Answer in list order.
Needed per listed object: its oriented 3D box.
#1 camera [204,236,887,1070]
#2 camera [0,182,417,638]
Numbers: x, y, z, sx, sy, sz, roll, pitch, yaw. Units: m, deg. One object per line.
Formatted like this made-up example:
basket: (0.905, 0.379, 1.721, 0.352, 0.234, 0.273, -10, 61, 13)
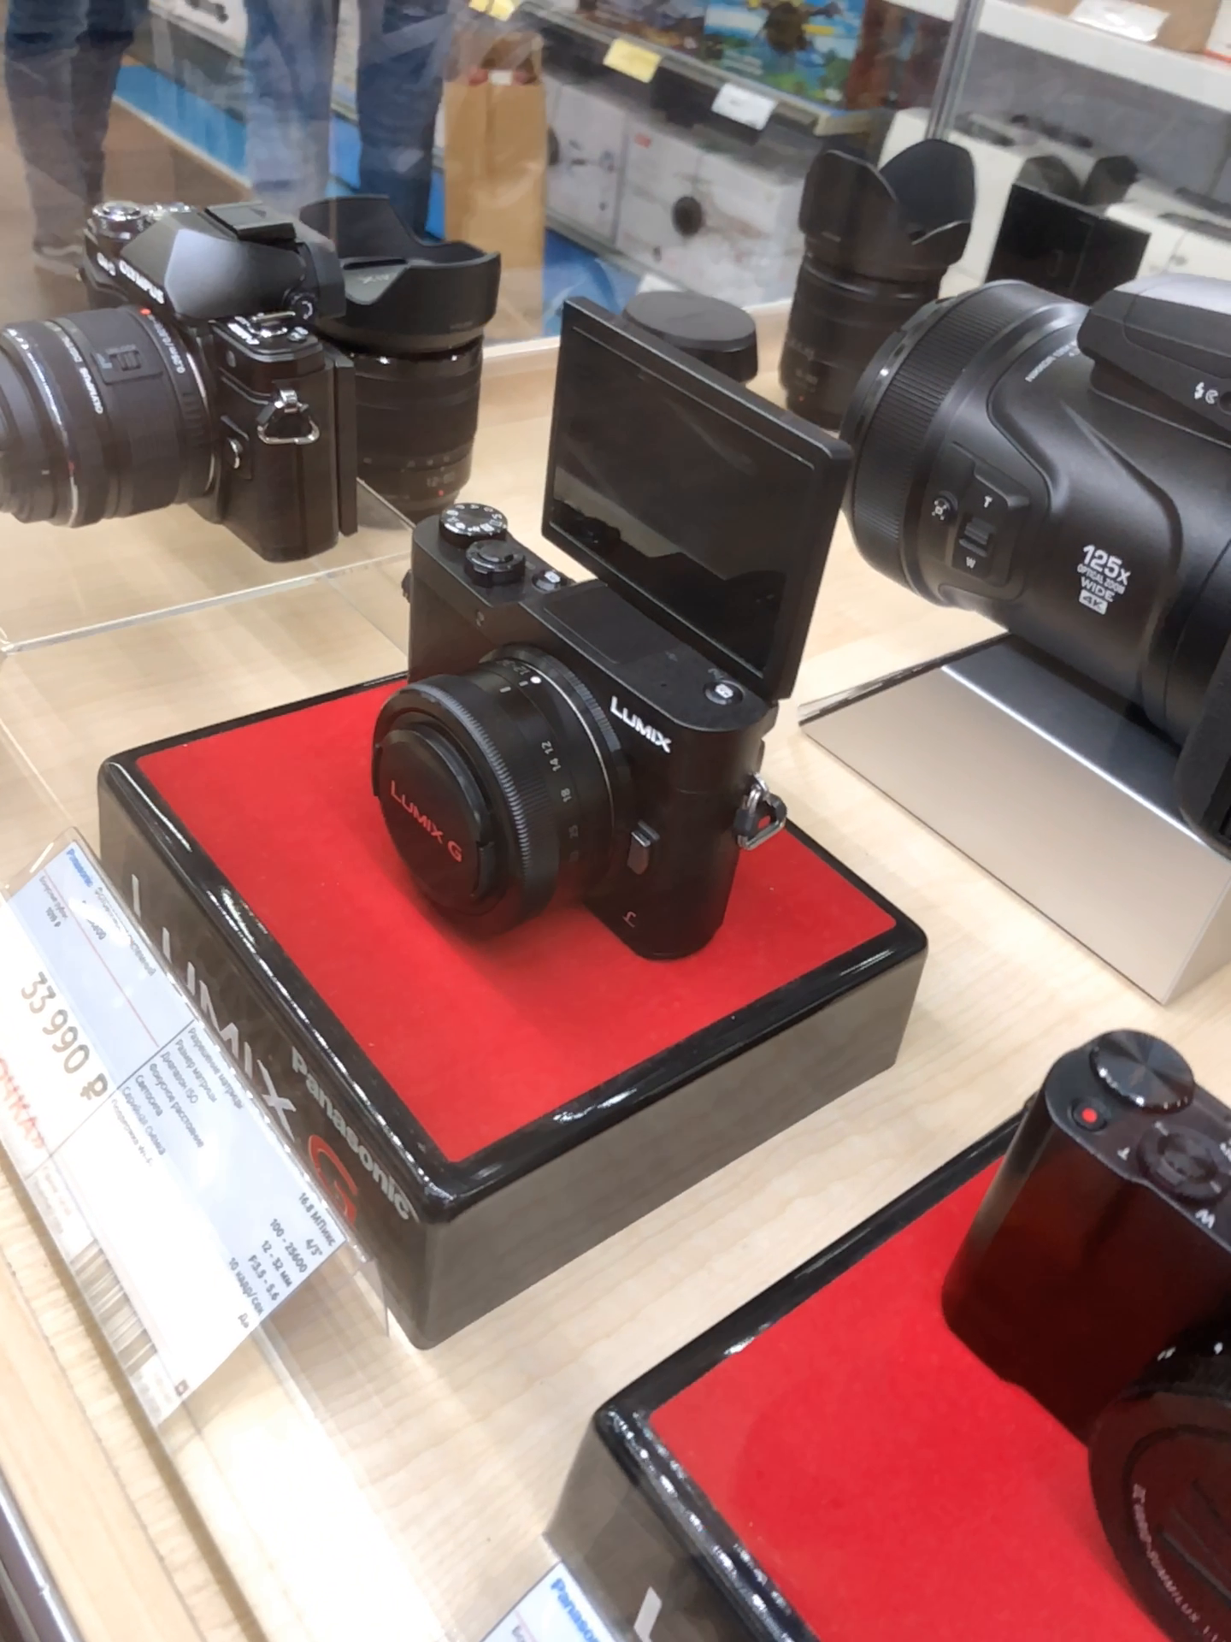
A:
camera: (-0.022, -0.038, 0.280, 0.070, 0.120, 0.108, -25, 50, -36)
camera: (-0.132, -0.125, 0.397, 0.103, 0.080, 0.108, -21, 48, -33)
